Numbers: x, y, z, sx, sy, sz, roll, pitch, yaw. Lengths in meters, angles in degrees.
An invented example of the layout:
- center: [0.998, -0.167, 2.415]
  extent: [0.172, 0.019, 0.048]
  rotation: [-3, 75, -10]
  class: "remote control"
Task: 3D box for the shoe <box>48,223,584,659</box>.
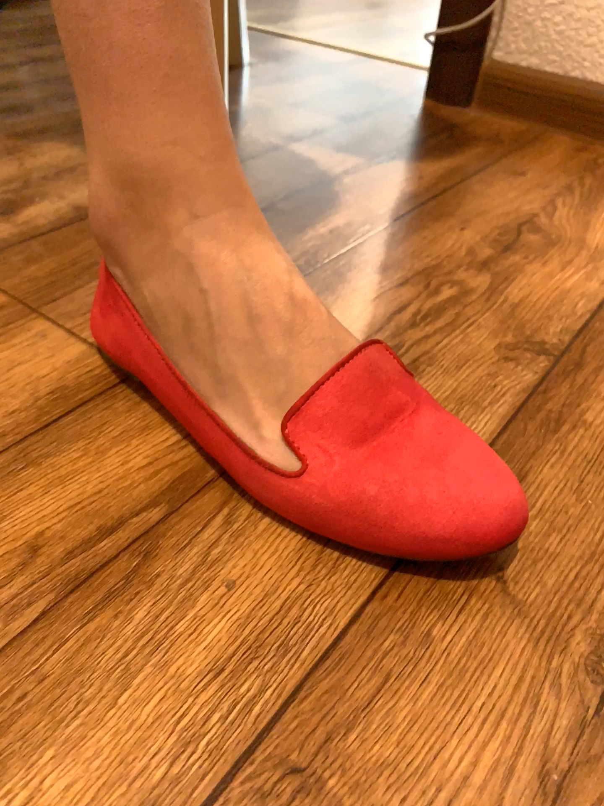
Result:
- center: [-0.008, -0.004, 0.280]
  extent: [0.221, 0.060, 0.087]
  rotation: [32, 47, 29]
  class: "shoe"
